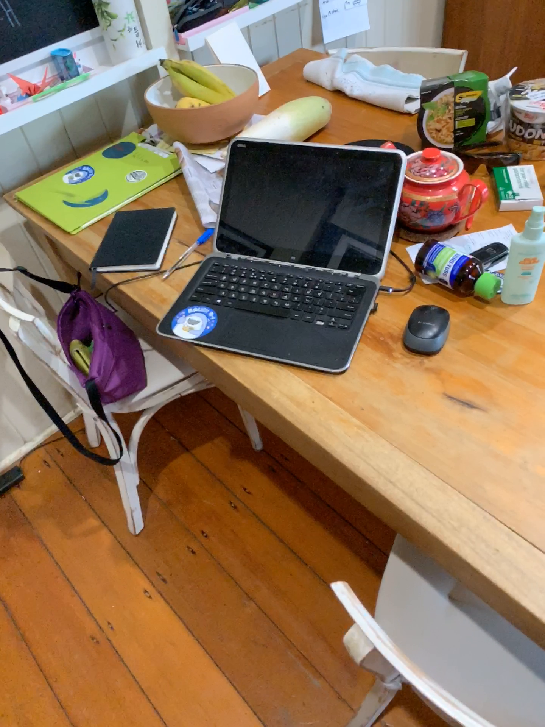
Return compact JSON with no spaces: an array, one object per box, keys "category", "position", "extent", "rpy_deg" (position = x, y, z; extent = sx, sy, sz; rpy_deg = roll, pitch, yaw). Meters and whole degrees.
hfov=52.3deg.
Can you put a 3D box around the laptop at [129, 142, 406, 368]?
[{"category":"laptop","position":[0.014,-0.189,0.869],"extent":[0.303,0.139,0.340],"rpy_deg":[12,51,19]}]
